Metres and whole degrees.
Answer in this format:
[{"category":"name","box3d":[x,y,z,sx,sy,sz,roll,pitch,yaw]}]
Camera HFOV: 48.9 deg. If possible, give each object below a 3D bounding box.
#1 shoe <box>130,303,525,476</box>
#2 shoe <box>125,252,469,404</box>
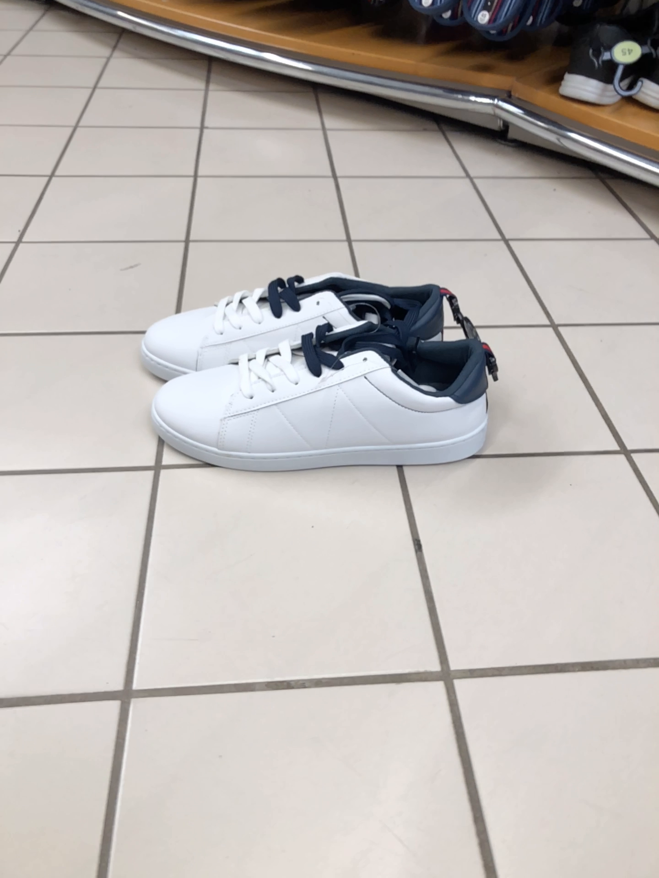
[{"category":"shoe","box3d":[-0.002,-0.041,0.603,0.290,0.099,0.101,0,41,-3]},{"category":"shoe","box3d":[-0.029,-0.105,0.684,0.290,0.099,0.101,0,41,-3]}]
